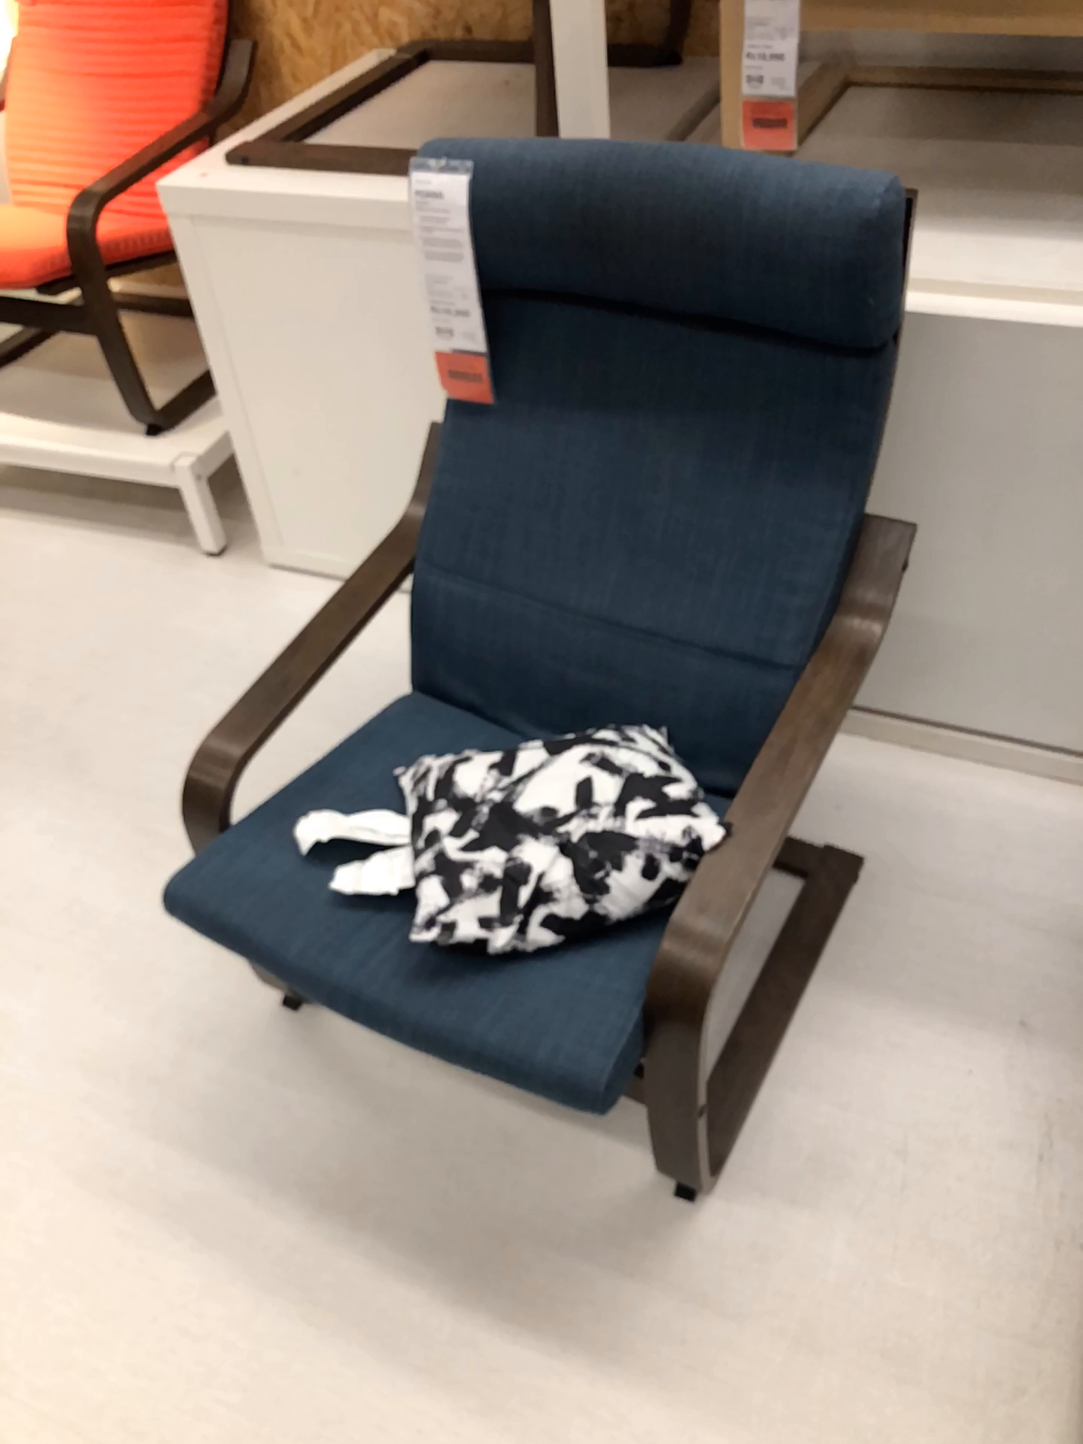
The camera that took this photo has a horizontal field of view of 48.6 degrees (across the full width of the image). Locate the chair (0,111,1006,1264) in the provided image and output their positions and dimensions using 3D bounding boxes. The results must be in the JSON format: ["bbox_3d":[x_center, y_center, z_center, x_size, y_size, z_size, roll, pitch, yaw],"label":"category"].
[{"bbox_3d":[-0.023,-0.071,1.336,0.722,0.884,0.693,19,48,26],"label":"chair"}]
